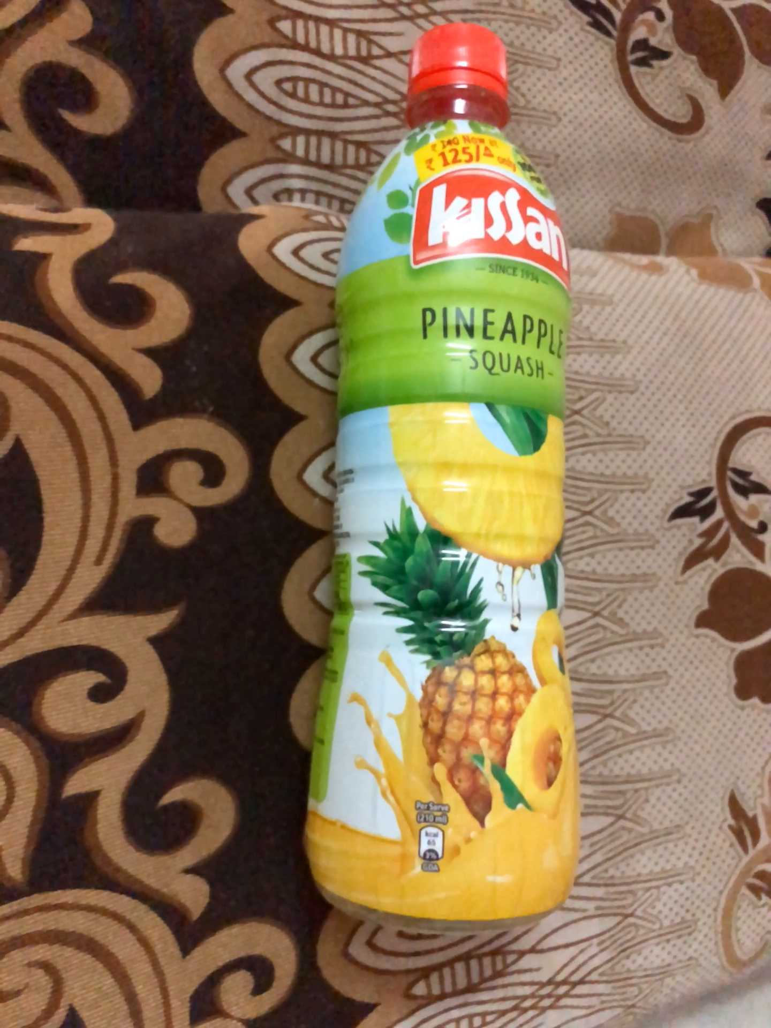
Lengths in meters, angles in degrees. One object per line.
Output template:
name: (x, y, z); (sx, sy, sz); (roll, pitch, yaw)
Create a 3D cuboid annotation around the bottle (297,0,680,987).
bottle: (0.028, -0.019, 0.229); (0.070, 0.060, 0.240); (6, 84, -29)
